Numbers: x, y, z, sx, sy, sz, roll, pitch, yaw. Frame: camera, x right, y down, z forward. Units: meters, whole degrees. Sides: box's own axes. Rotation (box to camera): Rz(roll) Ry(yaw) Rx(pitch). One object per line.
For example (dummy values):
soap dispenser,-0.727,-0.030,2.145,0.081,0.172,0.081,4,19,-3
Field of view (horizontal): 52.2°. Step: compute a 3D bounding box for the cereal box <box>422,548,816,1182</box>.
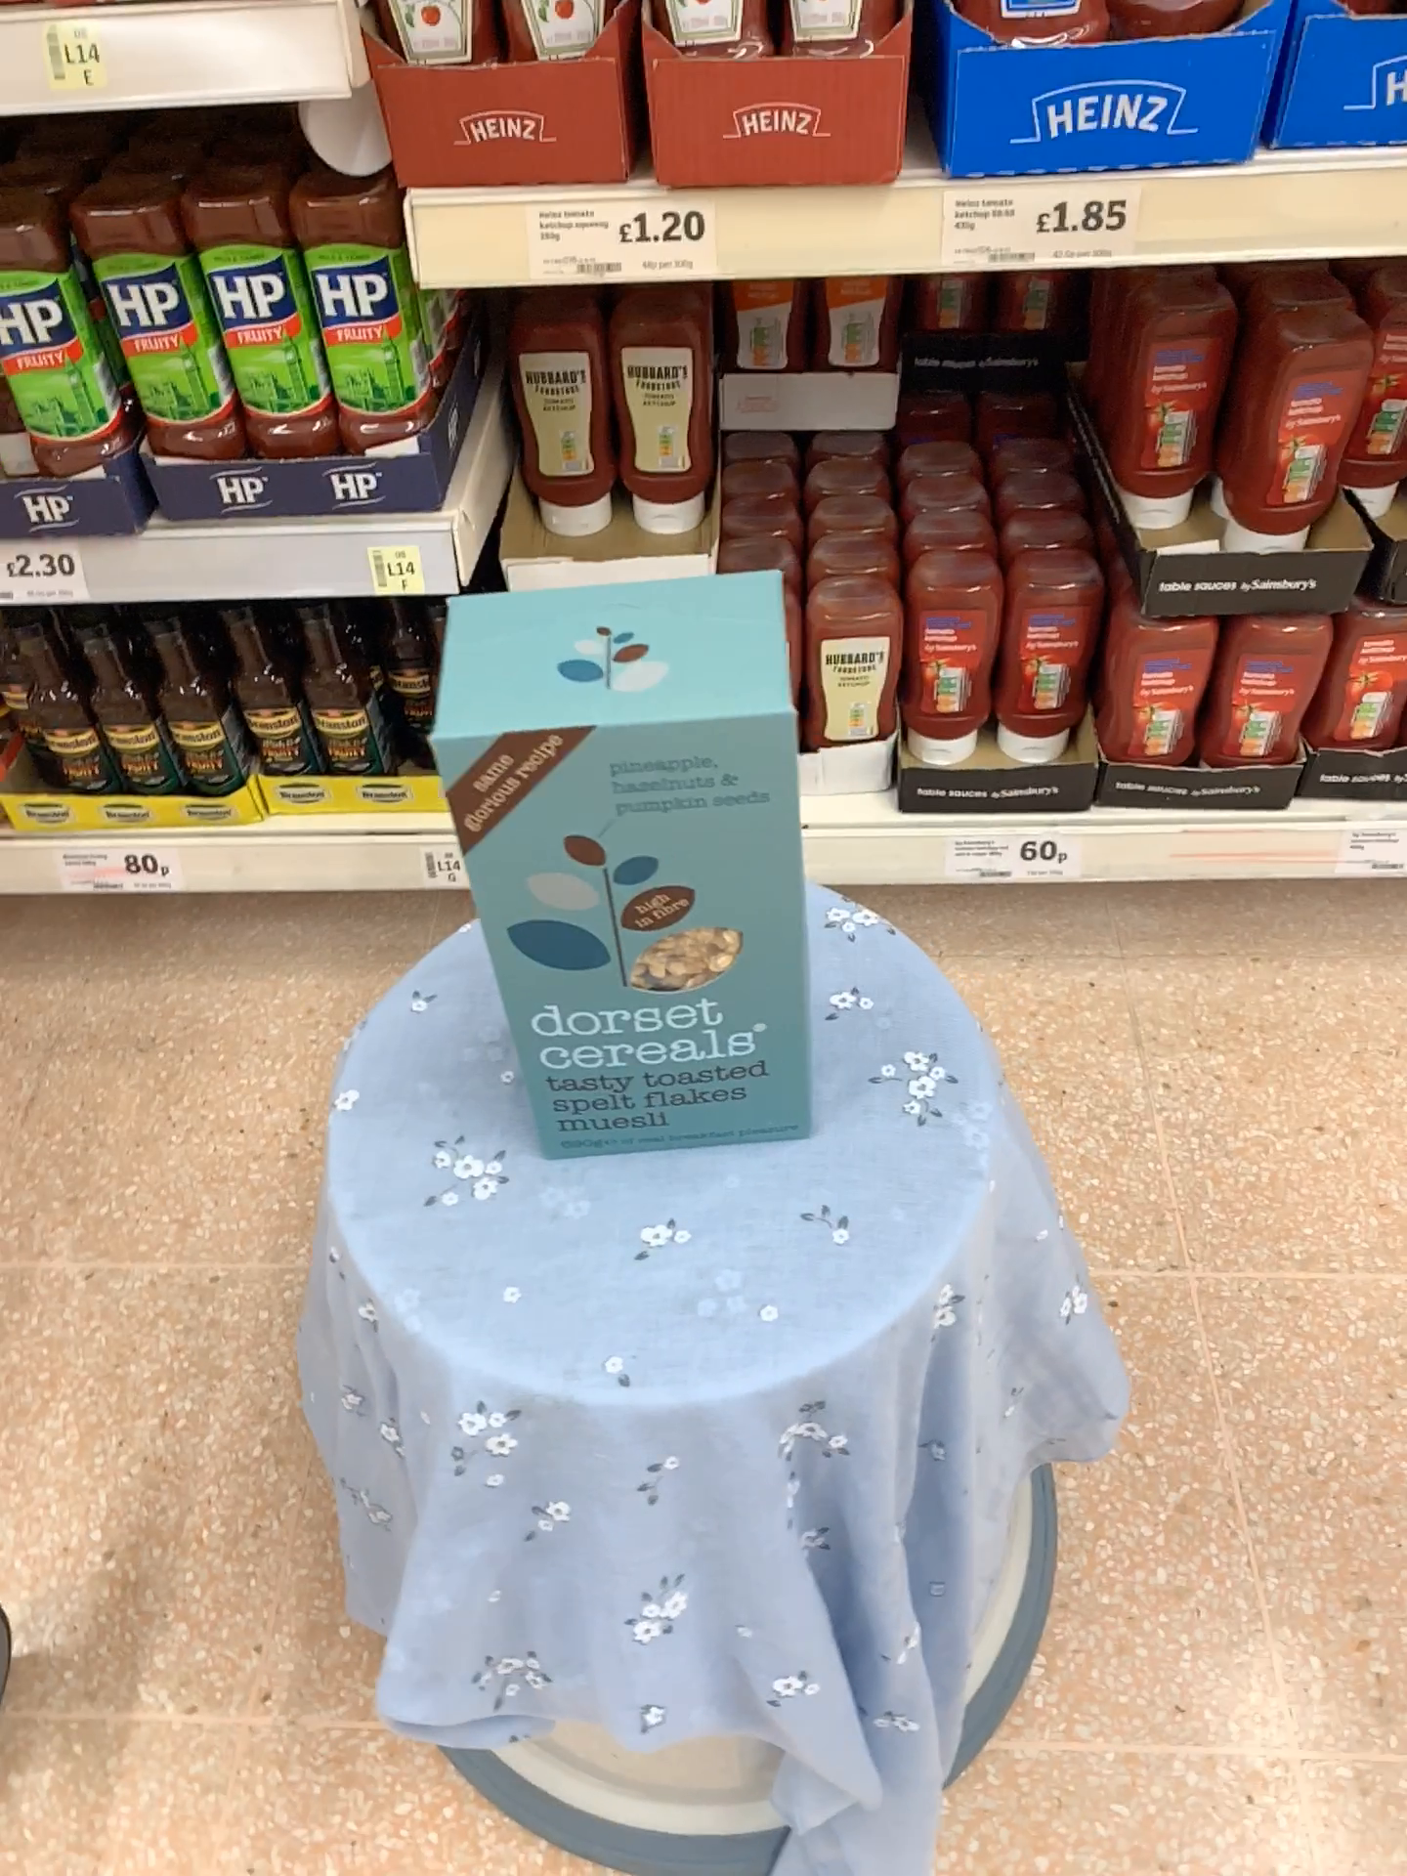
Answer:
cereal box,-0.022,-0.016,0.554,0.120,0.238,0.091,-5,46,0
